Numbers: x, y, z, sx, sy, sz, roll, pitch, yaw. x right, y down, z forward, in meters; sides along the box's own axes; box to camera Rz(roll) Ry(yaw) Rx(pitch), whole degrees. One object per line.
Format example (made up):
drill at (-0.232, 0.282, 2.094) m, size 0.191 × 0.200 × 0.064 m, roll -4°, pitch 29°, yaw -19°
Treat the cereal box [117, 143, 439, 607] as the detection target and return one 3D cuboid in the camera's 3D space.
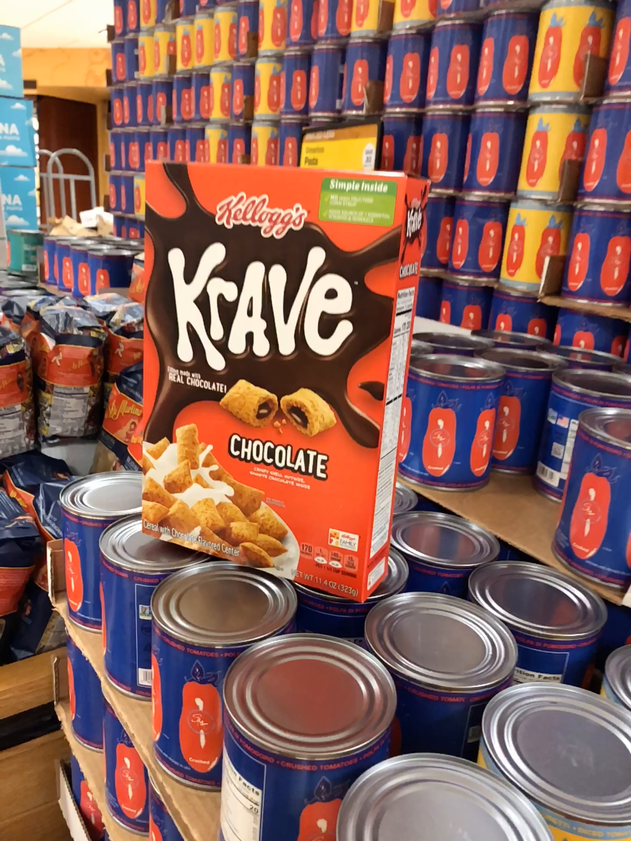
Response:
cereal box at (-0.039, -0.038, 0.499) m, size 0.210 × 0.288 × 0.060 m, roll 12°, pitch 18°, yaw 23°
